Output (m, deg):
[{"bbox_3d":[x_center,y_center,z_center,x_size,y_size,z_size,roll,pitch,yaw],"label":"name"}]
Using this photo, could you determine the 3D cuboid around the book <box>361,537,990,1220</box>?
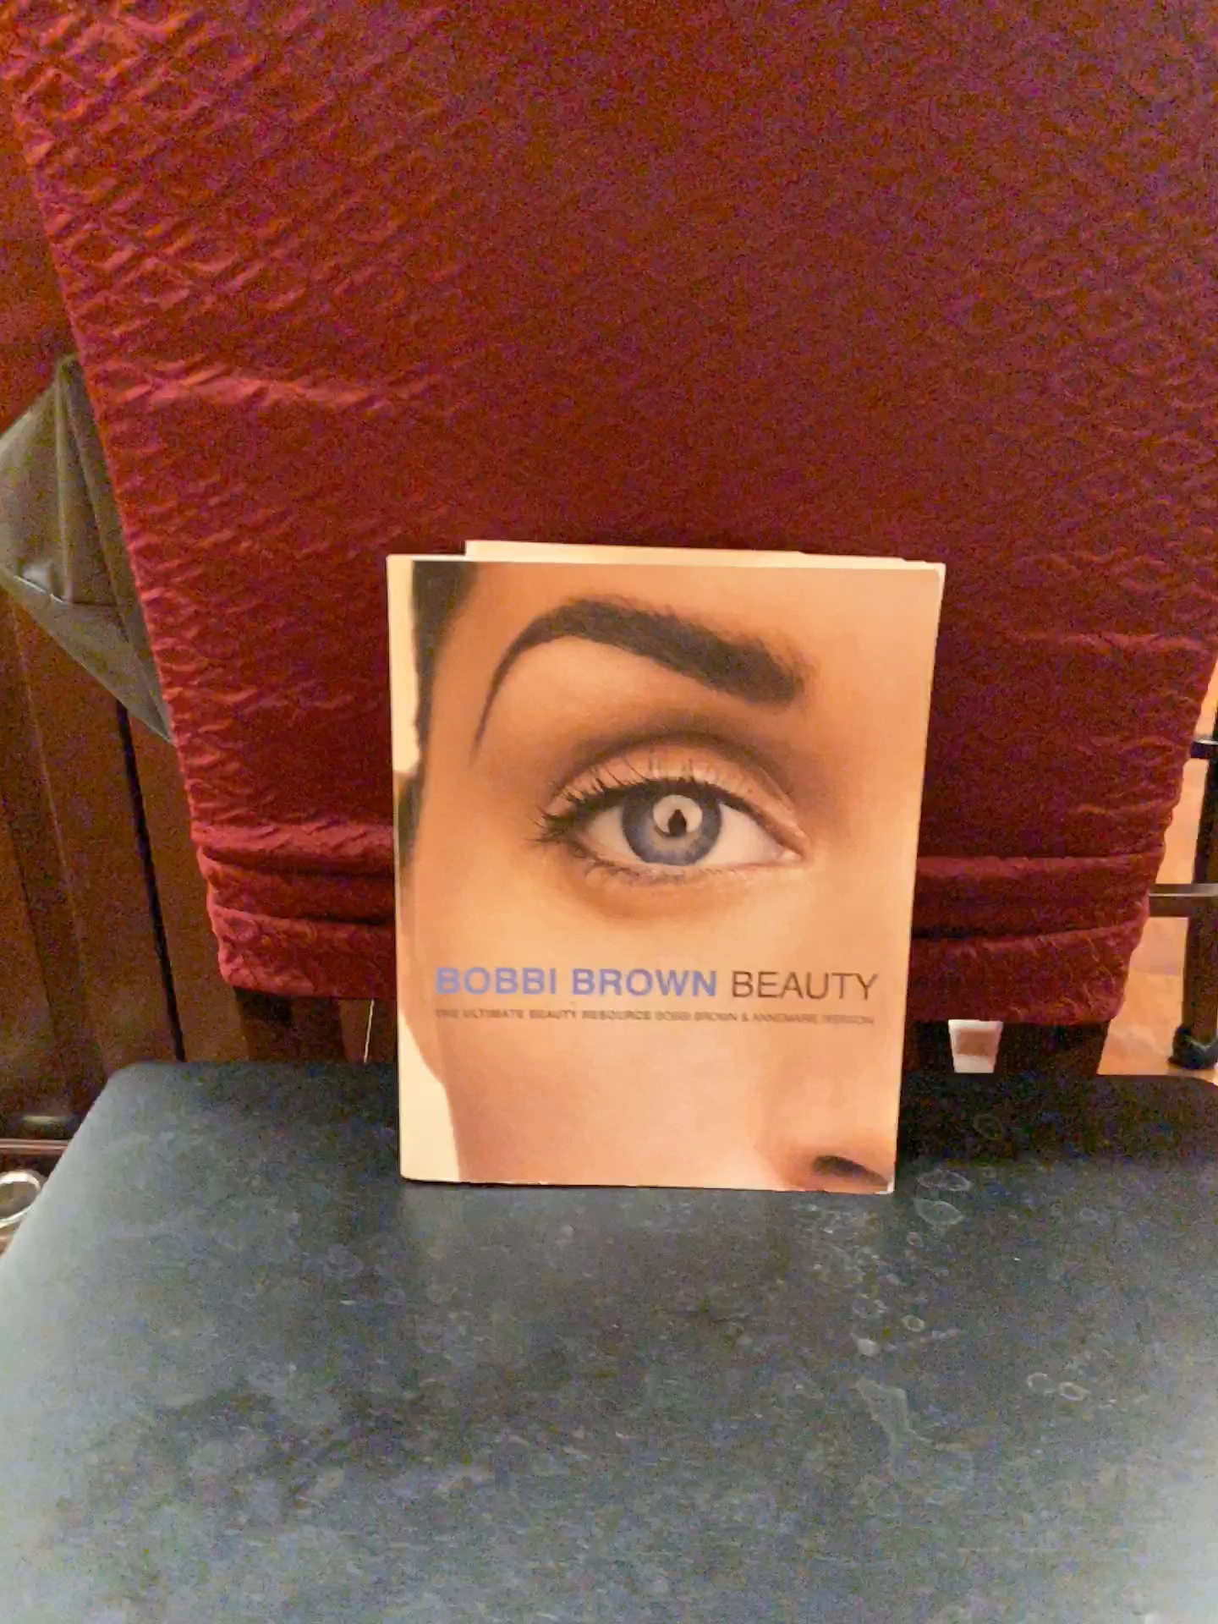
[{"bbox_3d":[0.019,0.027,0.442,0.200,0.239,0.030,1,15,2],"label":"book"}]
